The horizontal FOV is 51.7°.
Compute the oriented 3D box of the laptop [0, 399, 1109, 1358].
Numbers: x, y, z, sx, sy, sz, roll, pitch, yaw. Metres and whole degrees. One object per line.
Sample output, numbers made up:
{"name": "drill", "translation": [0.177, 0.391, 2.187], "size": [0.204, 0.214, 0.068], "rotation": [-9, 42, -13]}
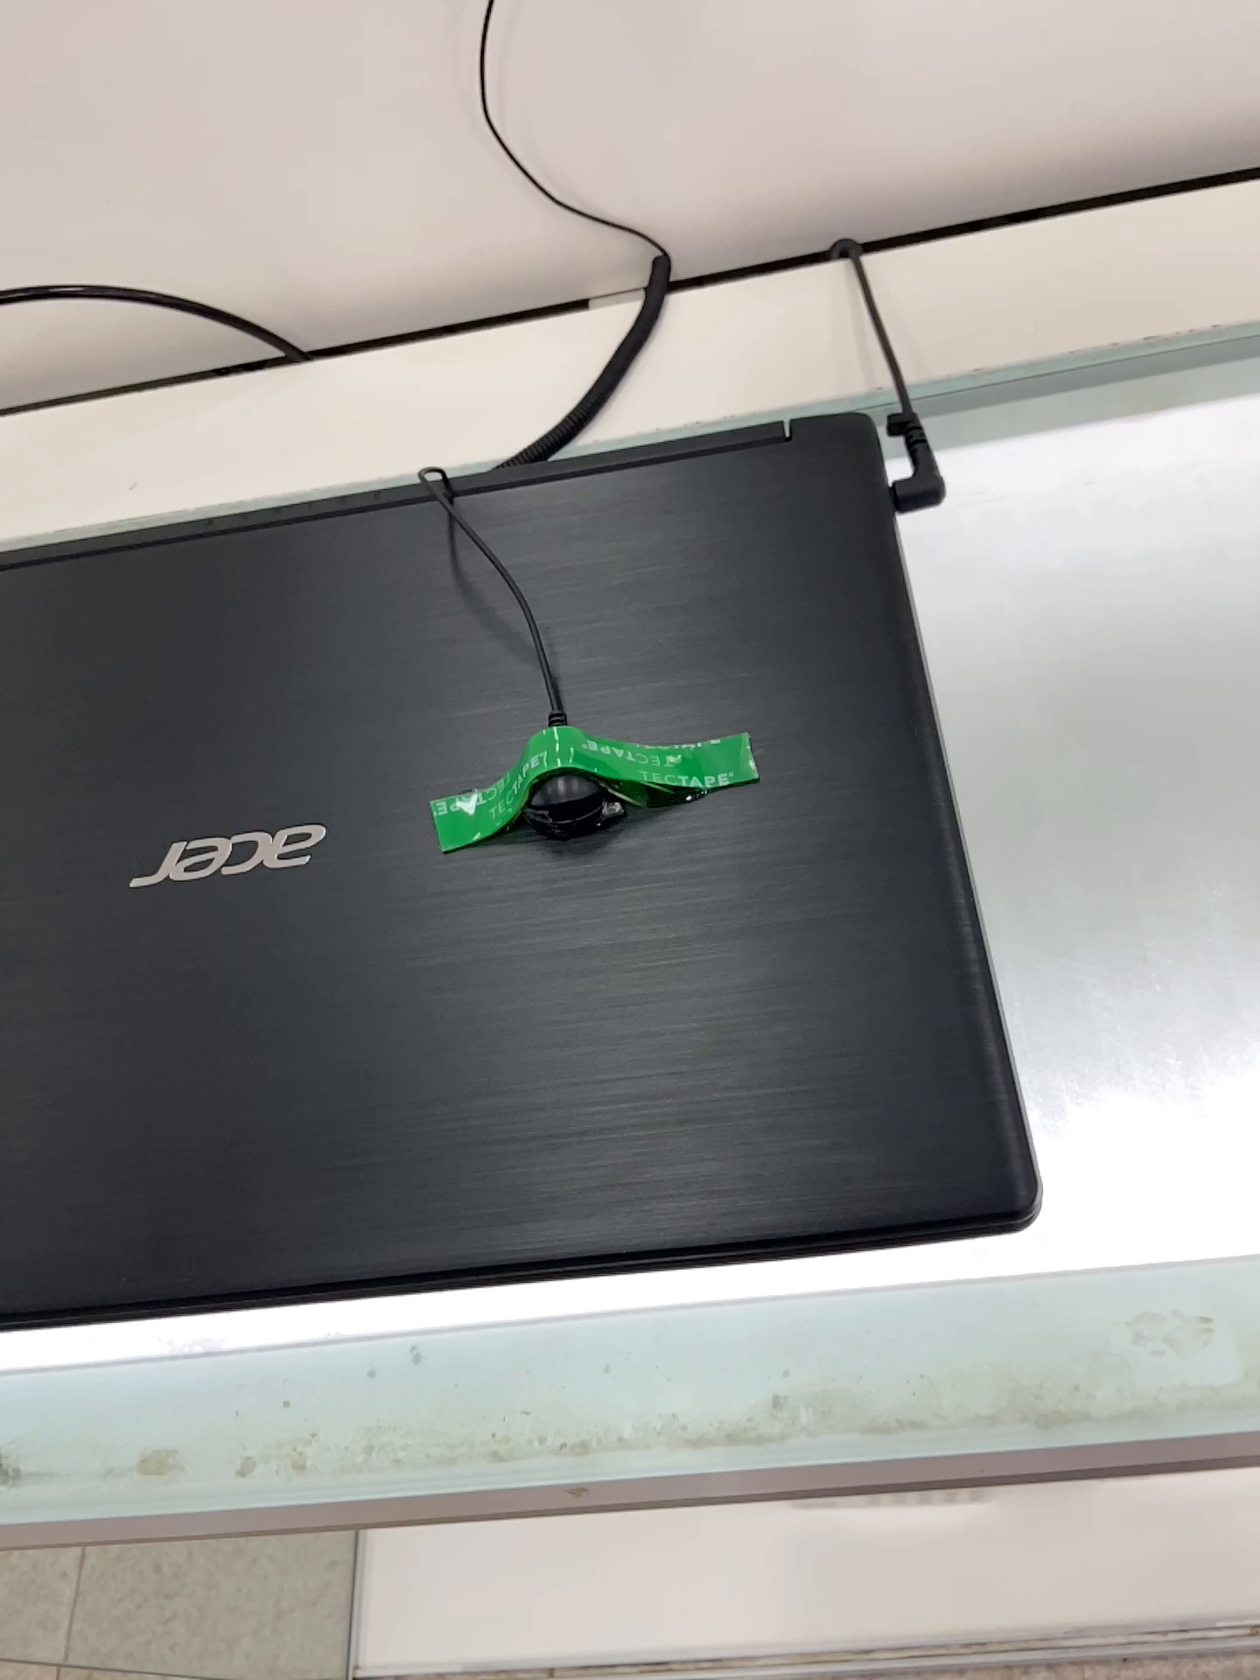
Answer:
{"name": "laptop", "translation": [-0.099, -0.006, 0.355], "size": [0.386, 0.001, 0.248], "rotation": [-8, 55, 7]}
